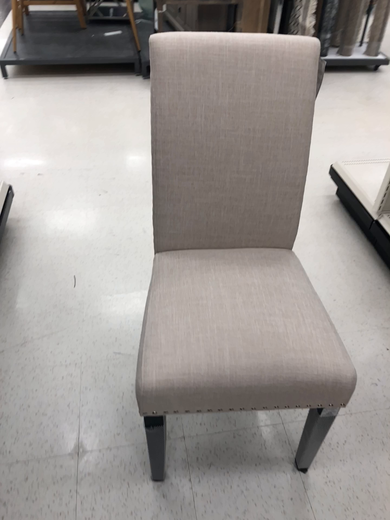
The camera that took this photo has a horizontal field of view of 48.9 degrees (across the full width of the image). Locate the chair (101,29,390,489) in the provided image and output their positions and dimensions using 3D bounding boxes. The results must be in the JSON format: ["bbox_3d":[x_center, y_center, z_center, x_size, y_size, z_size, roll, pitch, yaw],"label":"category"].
[{"bbox_3d":[0.095,0.059,1.067,0.487,1.006,0.559,-1,42,-4],"label":"chair"}]
